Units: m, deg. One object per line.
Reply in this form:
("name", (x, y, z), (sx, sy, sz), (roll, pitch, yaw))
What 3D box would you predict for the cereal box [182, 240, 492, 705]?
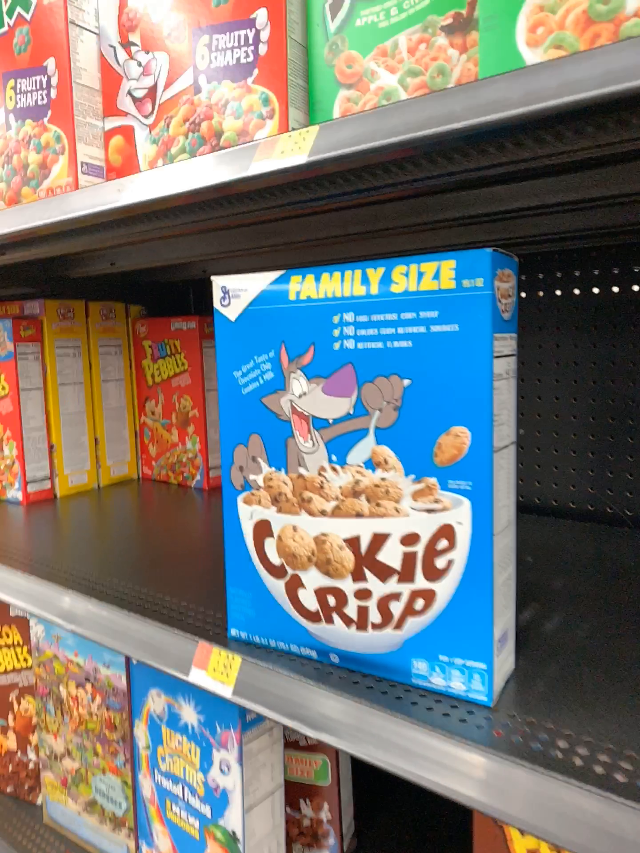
("cereal box", (0.012, 0.031, 0.560), (0.250, 0.339, 0.070), (2, 8, 28))
